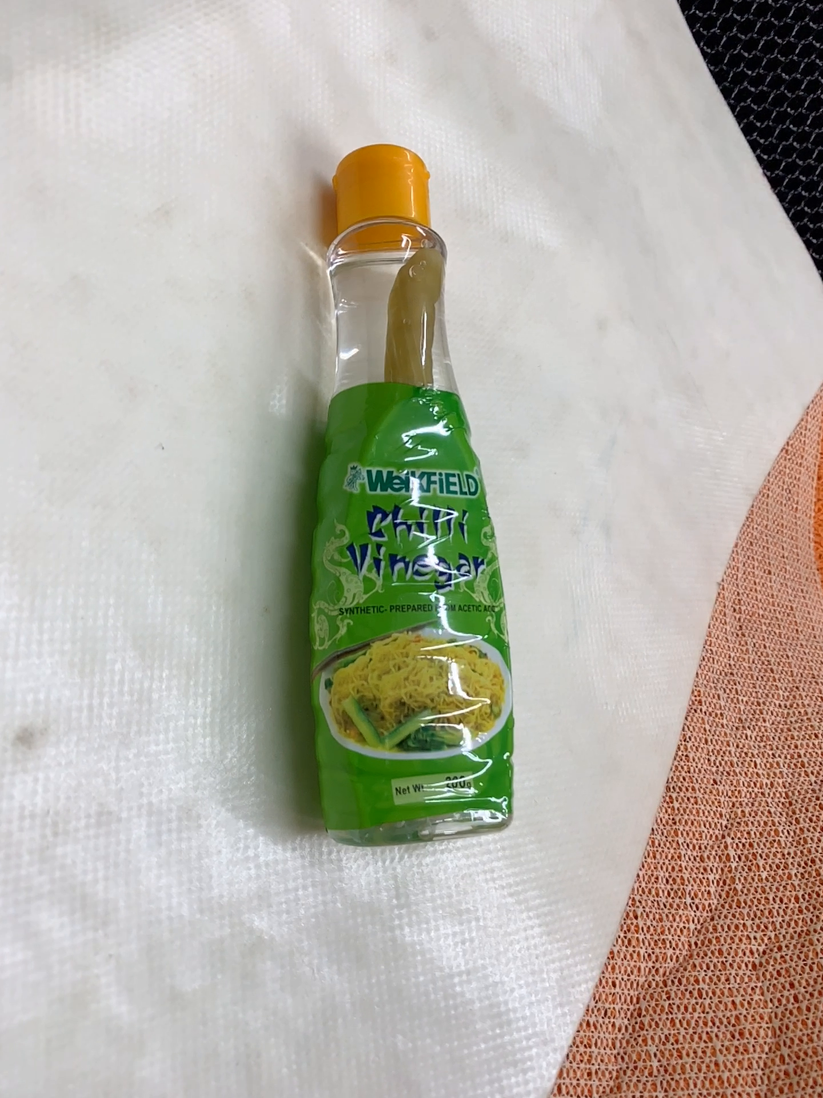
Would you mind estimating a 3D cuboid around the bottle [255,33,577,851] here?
[{"bbox_3d":[-0.002,-0.026,0.213,0.060,0.040,0.180,-1,84,-20],"label":"bottle"}]
